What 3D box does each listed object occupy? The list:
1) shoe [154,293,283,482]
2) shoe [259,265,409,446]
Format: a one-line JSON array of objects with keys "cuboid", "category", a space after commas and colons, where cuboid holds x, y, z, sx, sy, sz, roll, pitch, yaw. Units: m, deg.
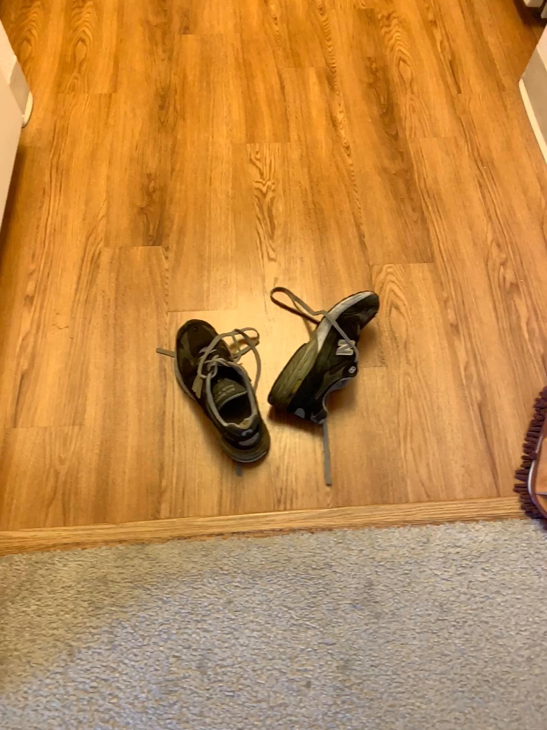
[{"cuboid": [-0.111, 0.044, 1.124, 0.120, 0.170, 0.321, -24, 66, -13], "category": "shoe"}, {"cuboid": [0.126, -0.024, 1.087, 0.120, 0.130, 0.320, 29, 66, 24], "category": "shoe"}]
